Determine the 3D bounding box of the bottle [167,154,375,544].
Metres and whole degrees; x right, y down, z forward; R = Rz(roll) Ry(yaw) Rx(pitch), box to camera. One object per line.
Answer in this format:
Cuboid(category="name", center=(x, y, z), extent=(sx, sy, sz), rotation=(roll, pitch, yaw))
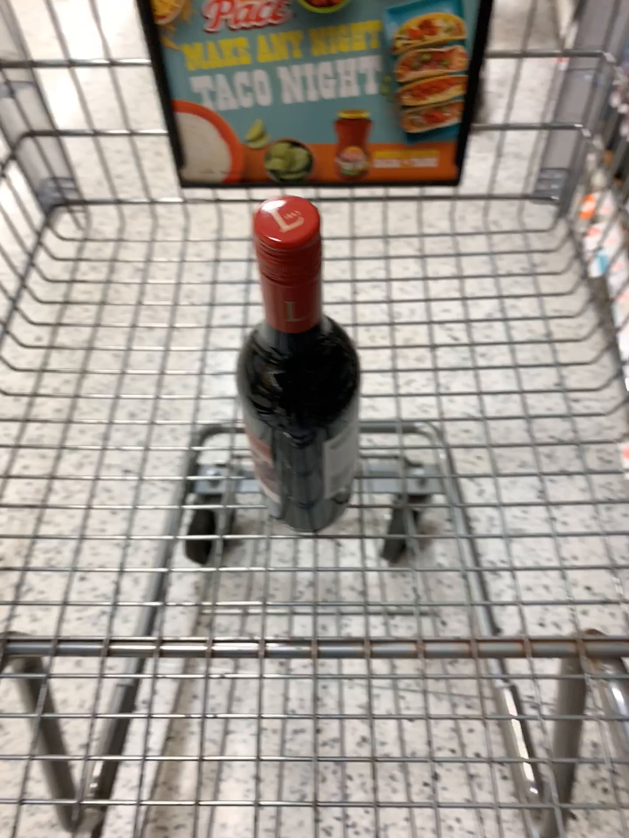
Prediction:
Cuboid(category="bottle", center=(-0.010, -0.015, 0.414), extent=(0.080, 0.288, 0.091), rotation=(4, 61, 5))
